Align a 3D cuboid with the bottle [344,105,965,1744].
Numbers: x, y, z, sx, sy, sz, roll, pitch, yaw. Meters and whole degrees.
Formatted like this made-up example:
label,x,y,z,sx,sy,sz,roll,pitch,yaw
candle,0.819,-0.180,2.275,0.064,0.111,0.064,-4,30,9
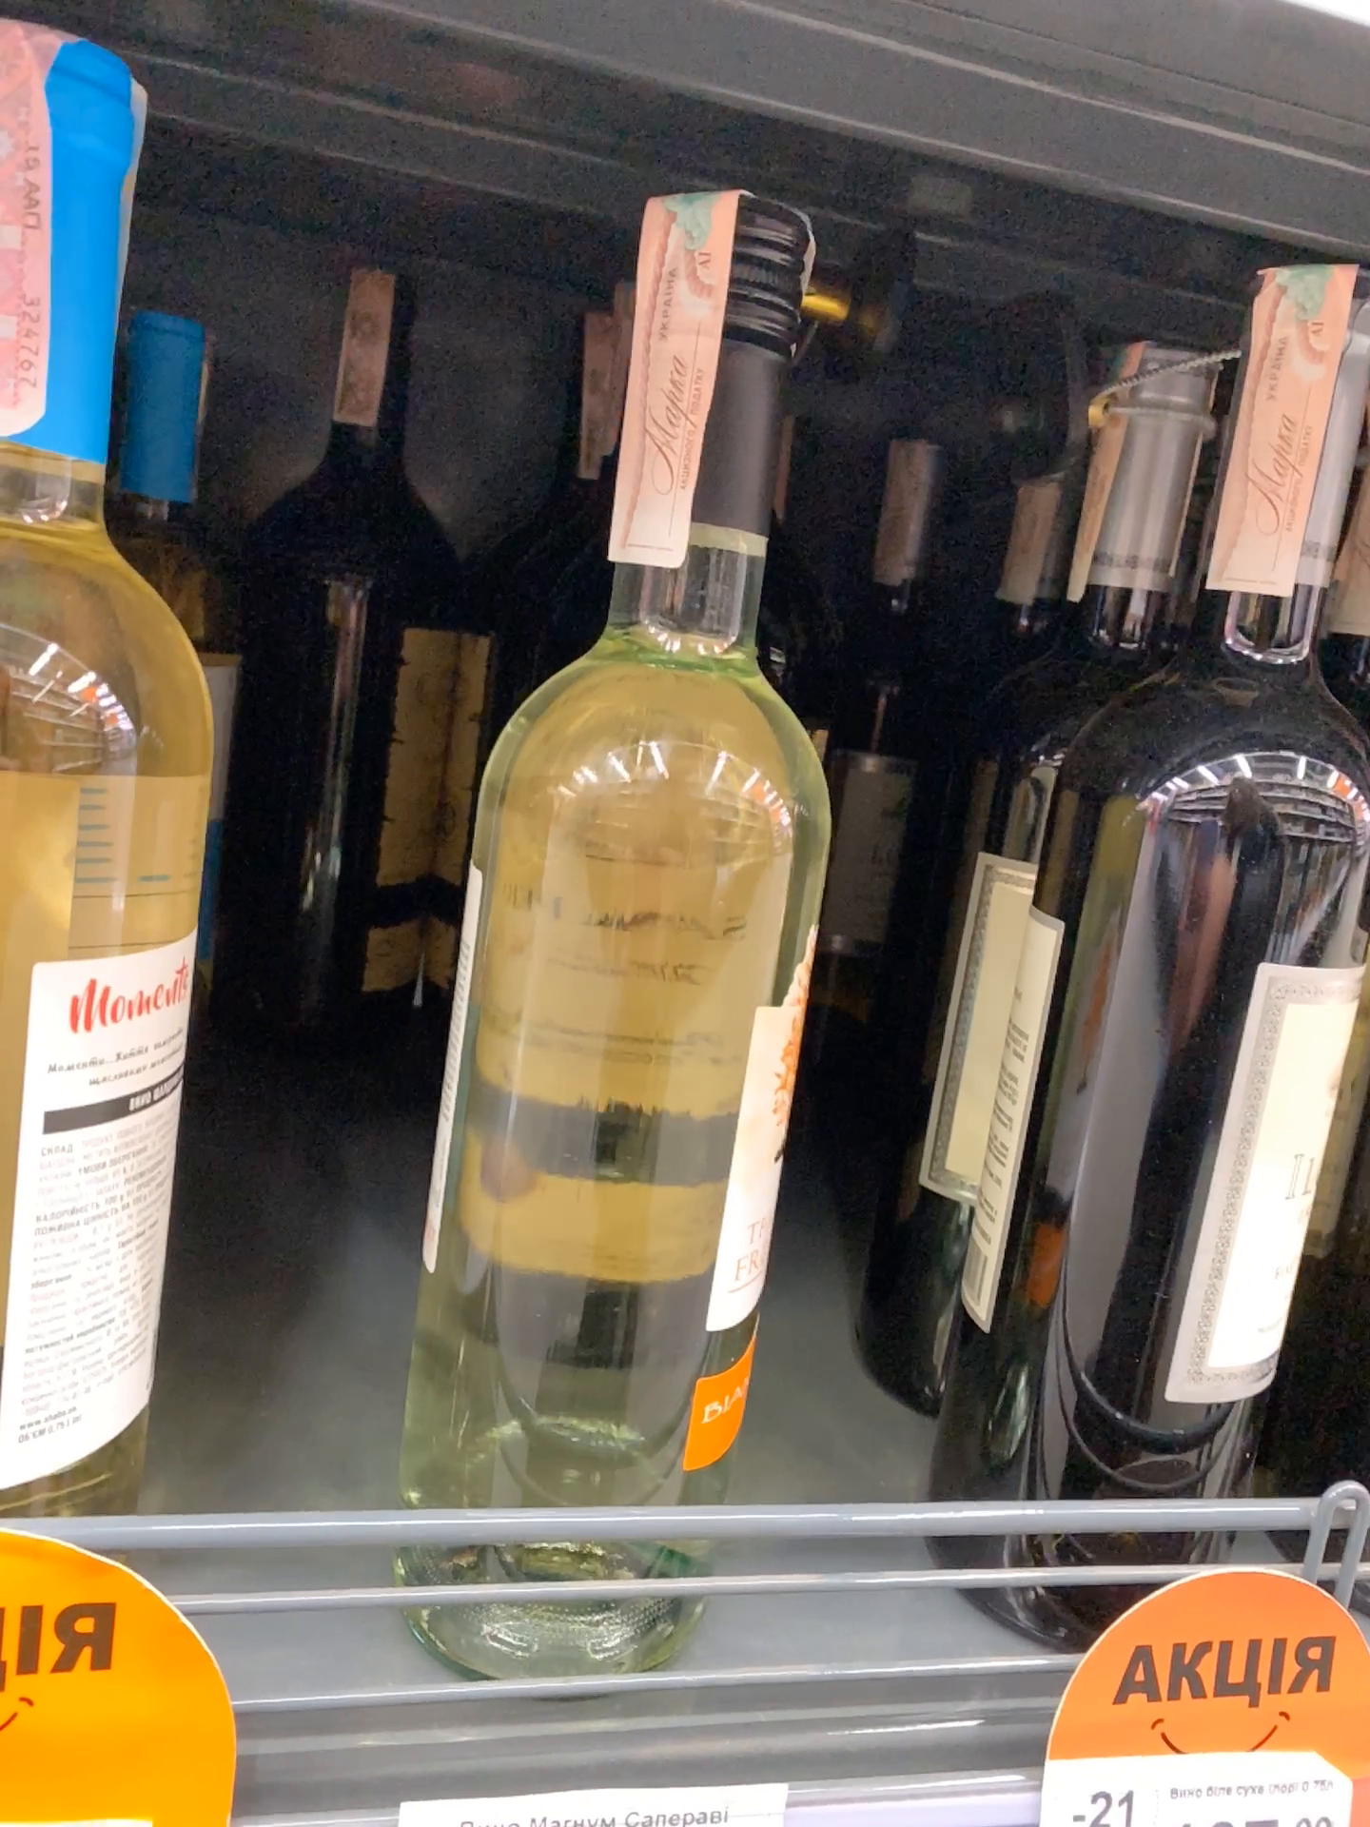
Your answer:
label,x,y,z,sx,sy,sz,roll,pitch,yaw
bottle,-0.010,0.011,0.291,0.070,0.294,0.070,9,12,-2
